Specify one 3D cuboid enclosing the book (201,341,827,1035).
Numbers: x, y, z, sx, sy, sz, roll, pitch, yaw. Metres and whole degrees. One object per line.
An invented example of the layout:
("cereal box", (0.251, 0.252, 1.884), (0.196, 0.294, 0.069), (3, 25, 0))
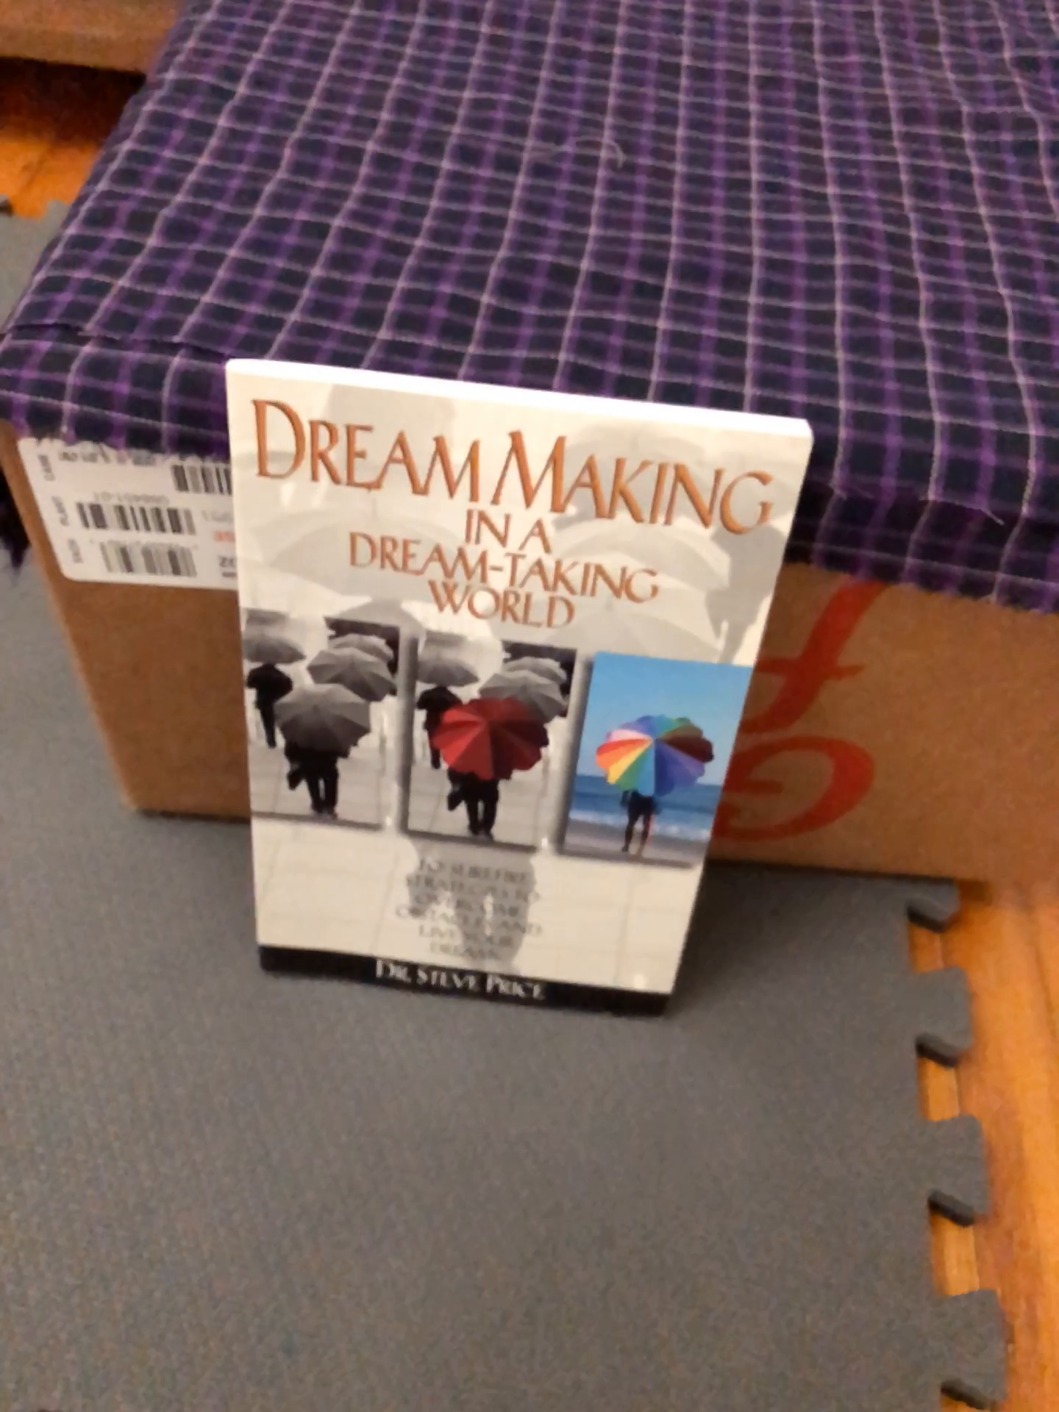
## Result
("book", (-0.012, 0.011, 0.355), (0.150, 0.219, 0.020), (7, 37, 2))
